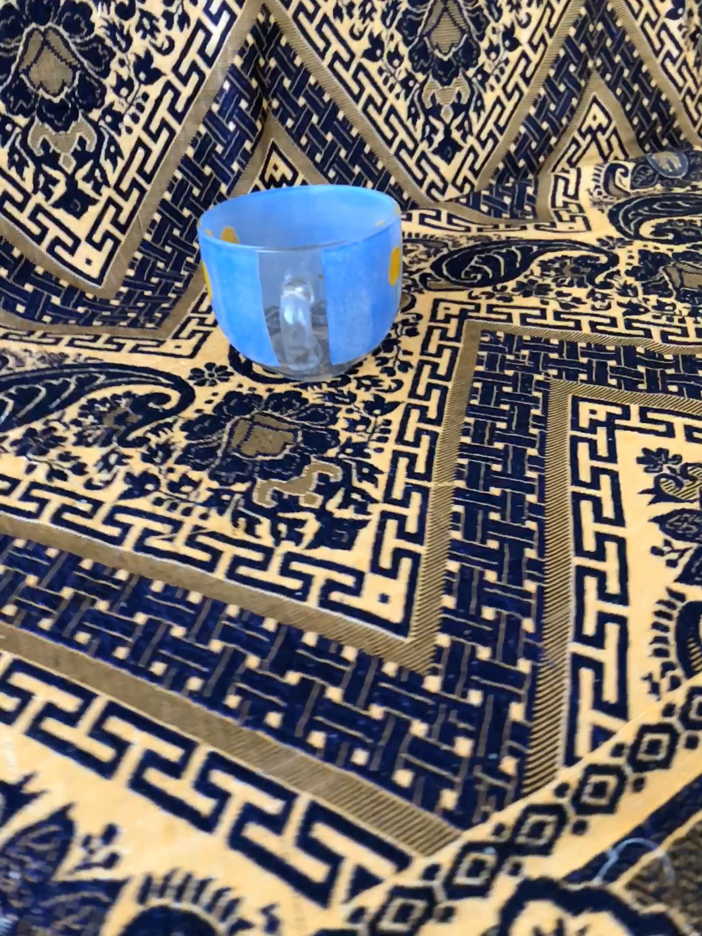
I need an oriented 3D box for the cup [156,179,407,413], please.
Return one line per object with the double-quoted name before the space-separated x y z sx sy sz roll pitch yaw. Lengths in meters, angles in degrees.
"cup" -0.028 -0.097 0.410 0.108 0.072 0.139 1 36 2
